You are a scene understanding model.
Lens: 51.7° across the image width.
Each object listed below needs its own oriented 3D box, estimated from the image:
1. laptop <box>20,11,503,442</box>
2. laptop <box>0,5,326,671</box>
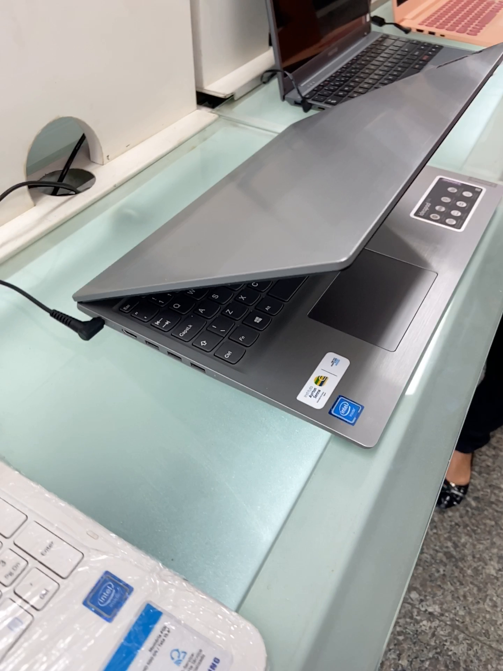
[{"bbox_3d":[0.058,-0.136,0.429,0.249,0.127,0.365,23,49,21],"label":"laptop"},{"bbox_3d":[-0.253,0.118,0.119,0.383,0.202,0.411,25,50,22],"label":"laptop"}]
